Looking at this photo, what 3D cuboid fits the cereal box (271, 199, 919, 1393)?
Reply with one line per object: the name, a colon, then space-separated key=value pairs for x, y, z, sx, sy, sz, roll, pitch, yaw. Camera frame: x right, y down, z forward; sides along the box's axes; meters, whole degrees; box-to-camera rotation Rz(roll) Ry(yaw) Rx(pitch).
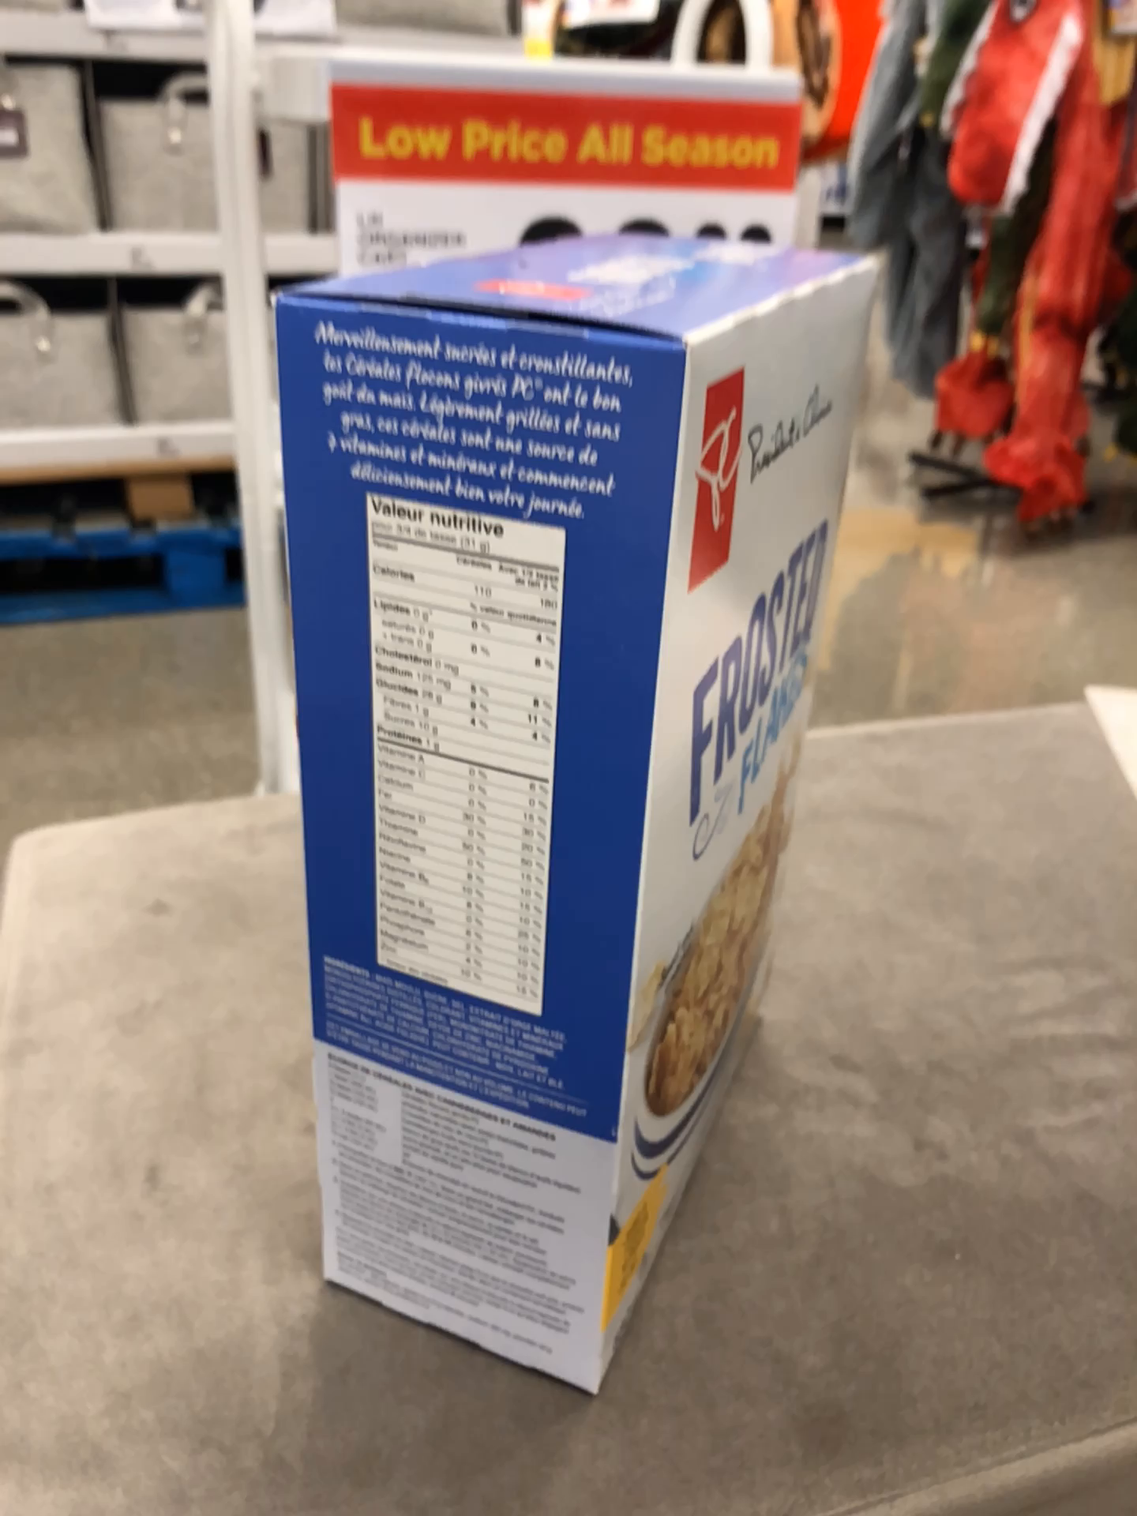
cereal box: x=0.018 y=-0.005 z=0.388 sx=0.100 sy=0.289 sz=0.201 roll=12 pitch=28 yaw=18
